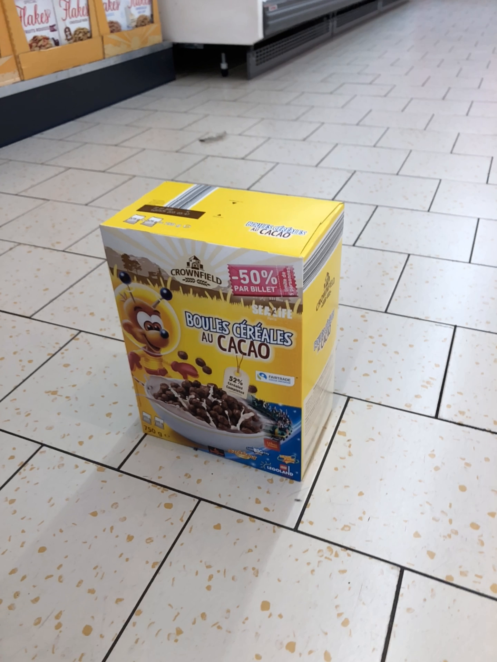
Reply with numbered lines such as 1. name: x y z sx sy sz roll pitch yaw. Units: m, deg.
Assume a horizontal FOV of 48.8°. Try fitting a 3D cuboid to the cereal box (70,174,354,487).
1. cereal box: -0.024 -0.006 0.540 0.210 0.239 0.131 12 37 21
